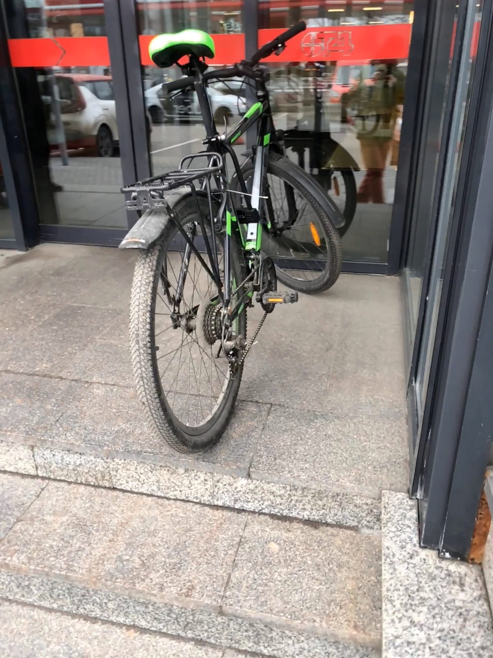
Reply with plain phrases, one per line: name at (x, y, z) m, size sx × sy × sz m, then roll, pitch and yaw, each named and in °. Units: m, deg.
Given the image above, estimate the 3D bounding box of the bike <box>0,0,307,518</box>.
bike at (-0.140, -0.388, 1.747) m, size 0.628 × 1.051 × 1.553 m, roll 2°, pitch 24°, yaw 6°
